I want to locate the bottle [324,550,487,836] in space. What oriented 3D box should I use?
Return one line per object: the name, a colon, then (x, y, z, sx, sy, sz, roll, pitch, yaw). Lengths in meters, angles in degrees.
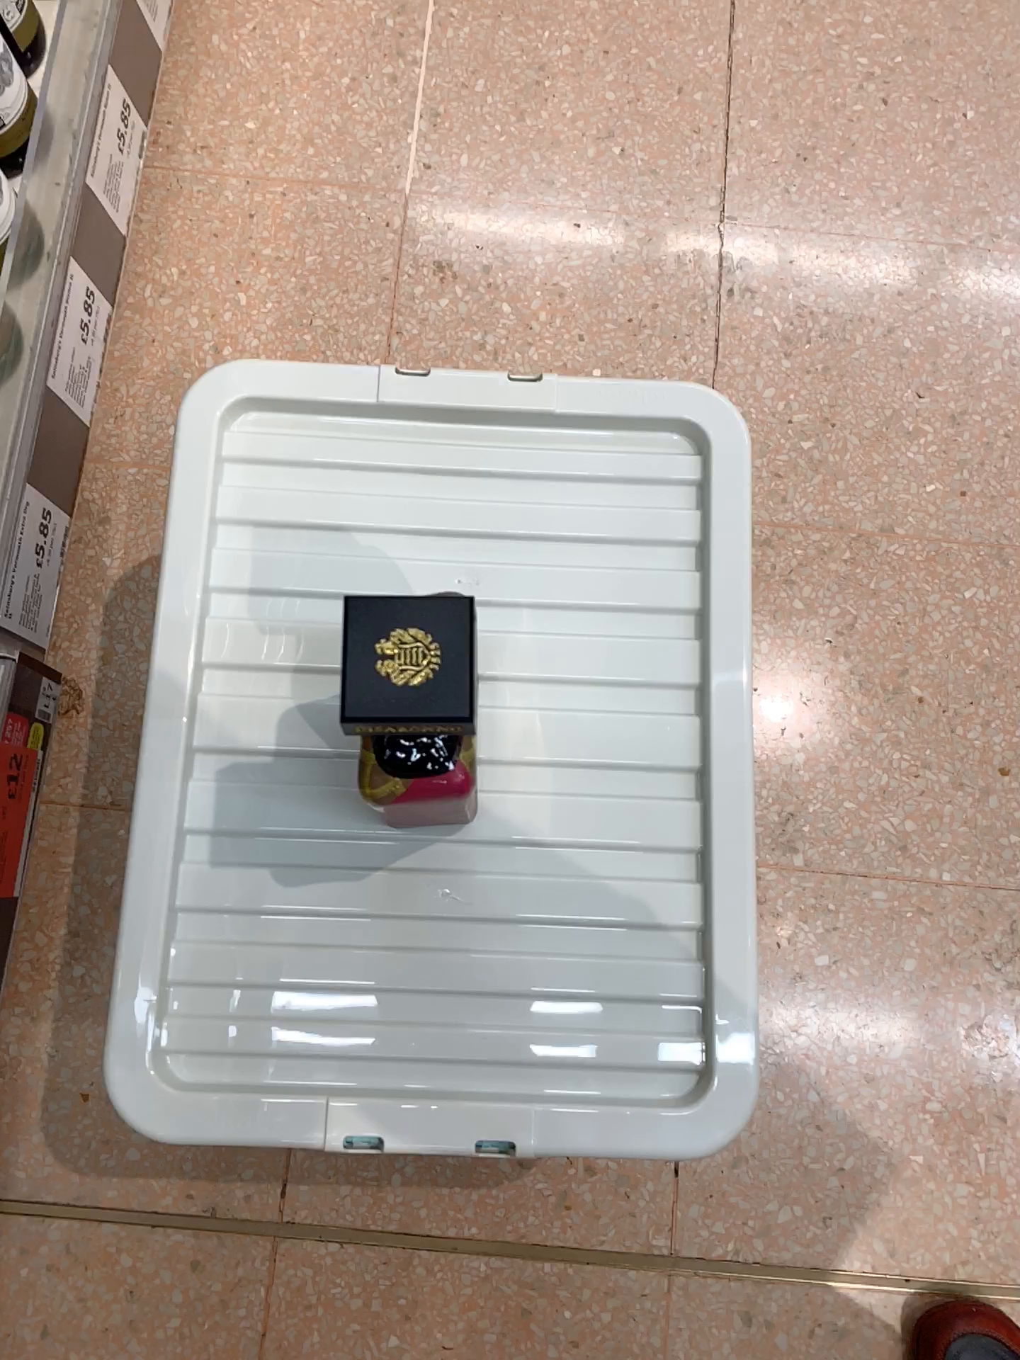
bottle: (-0.042, 0.018, 0.499, 0.060, 0.200, 0.100, 1, 78, -1)
